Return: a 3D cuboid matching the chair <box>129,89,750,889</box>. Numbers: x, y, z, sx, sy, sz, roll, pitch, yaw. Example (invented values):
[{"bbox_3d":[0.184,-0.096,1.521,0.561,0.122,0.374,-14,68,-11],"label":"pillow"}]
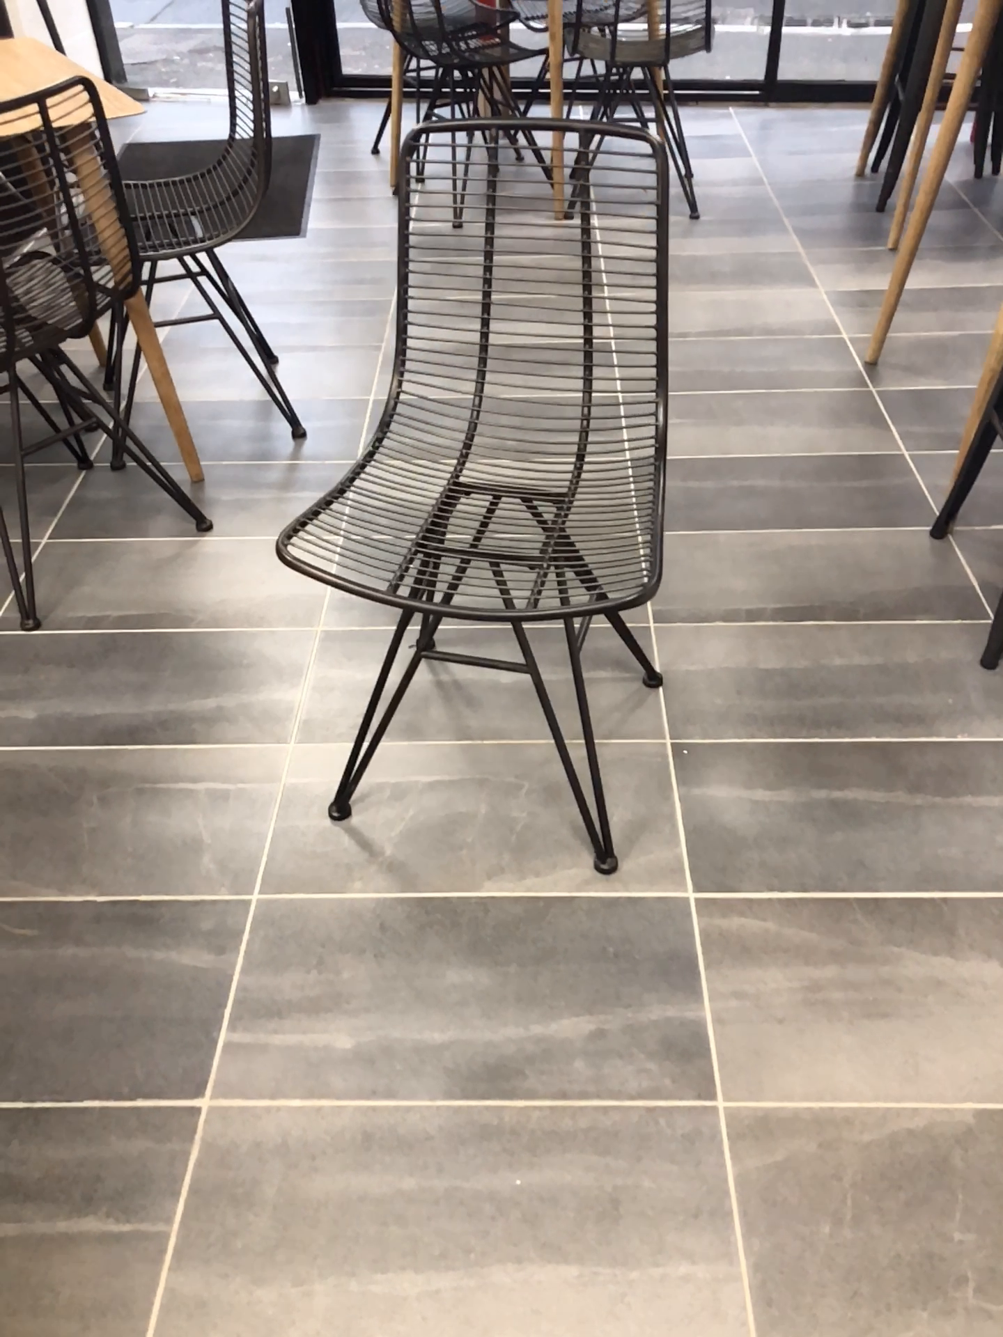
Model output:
[{"bbox_3d":[-0.012,-0.222,1.371,0.500,0.785,0.523,9,42,13],"label":"chair"}]
